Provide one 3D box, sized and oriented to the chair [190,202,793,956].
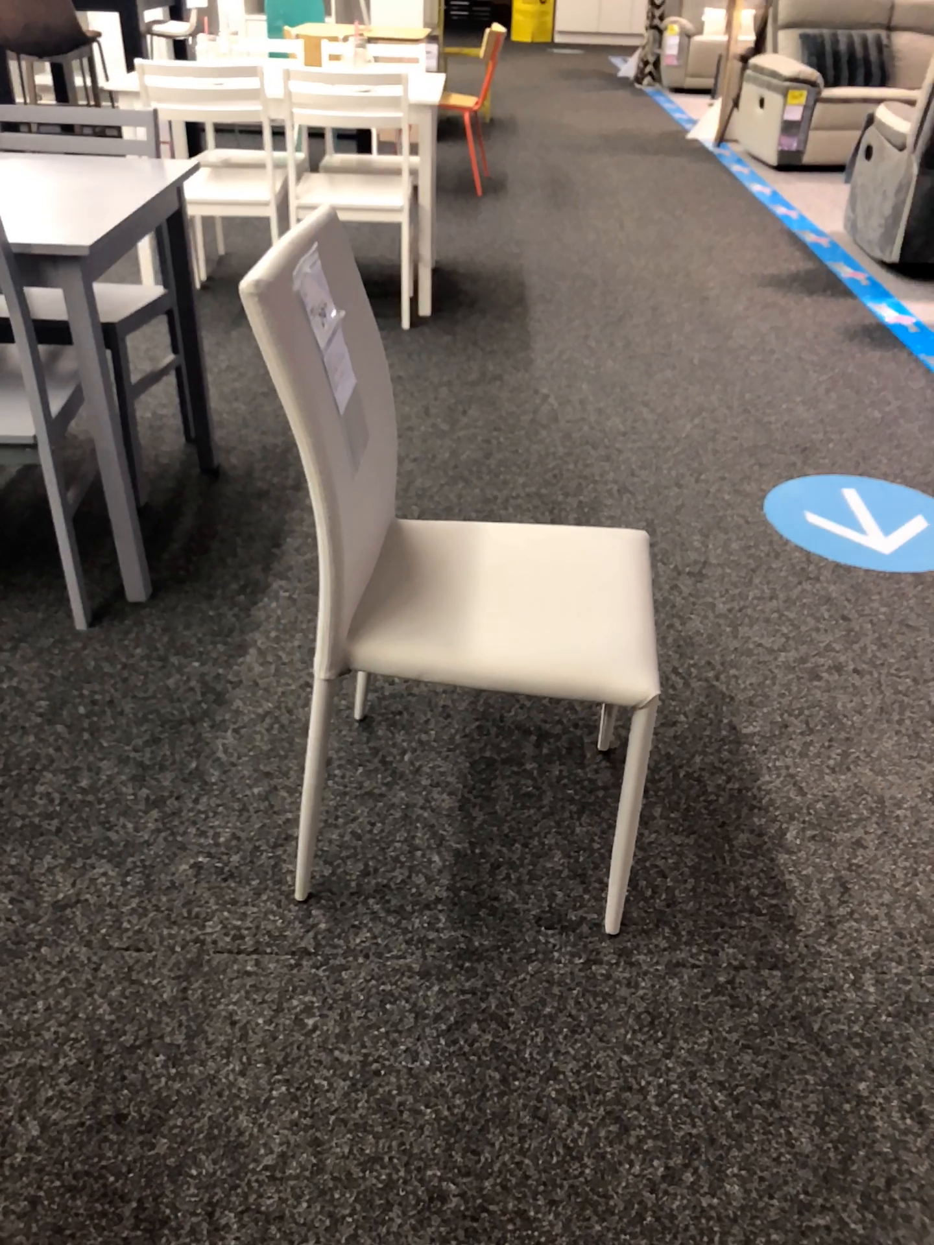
[{"bbox_3d":[0.024,-0.057,1.349,0.540,0.815,0.503,3,33,2],"label":"chair"}]
